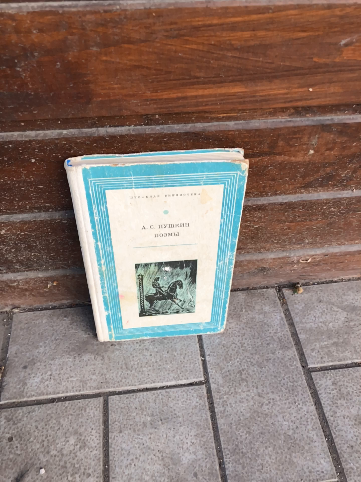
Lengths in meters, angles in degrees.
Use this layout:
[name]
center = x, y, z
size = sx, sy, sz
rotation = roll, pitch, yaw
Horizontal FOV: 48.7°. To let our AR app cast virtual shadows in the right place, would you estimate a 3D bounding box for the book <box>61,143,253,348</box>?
[book]
center = -0.017, 0.014, 0.340
size = 0.130, 0.189, 0.030
rotation = -4, 39, -6
